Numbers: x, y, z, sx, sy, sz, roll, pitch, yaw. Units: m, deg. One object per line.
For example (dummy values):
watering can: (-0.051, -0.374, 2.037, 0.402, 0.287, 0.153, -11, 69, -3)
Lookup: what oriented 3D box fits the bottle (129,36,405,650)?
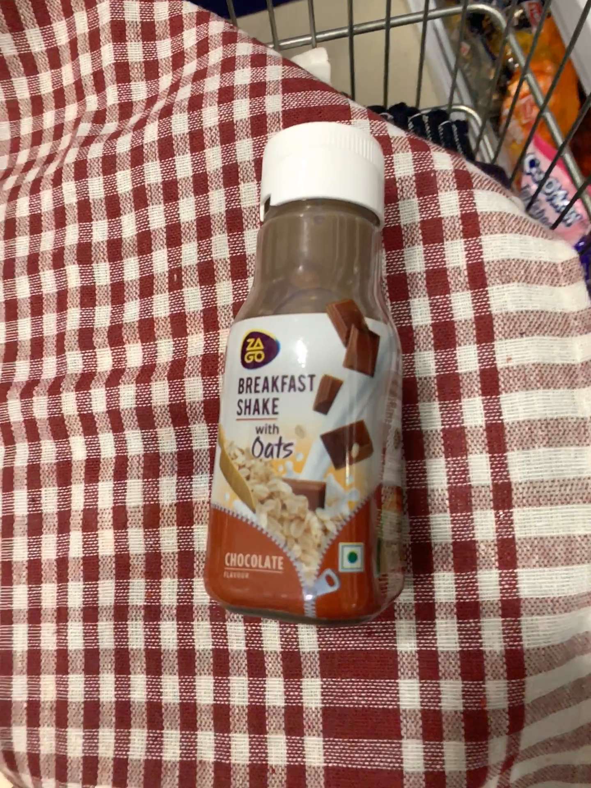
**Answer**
bottle: (-0.004, -0.014, 0.181, 0.060, 0.050, 0.150, 1, 86, 19)
